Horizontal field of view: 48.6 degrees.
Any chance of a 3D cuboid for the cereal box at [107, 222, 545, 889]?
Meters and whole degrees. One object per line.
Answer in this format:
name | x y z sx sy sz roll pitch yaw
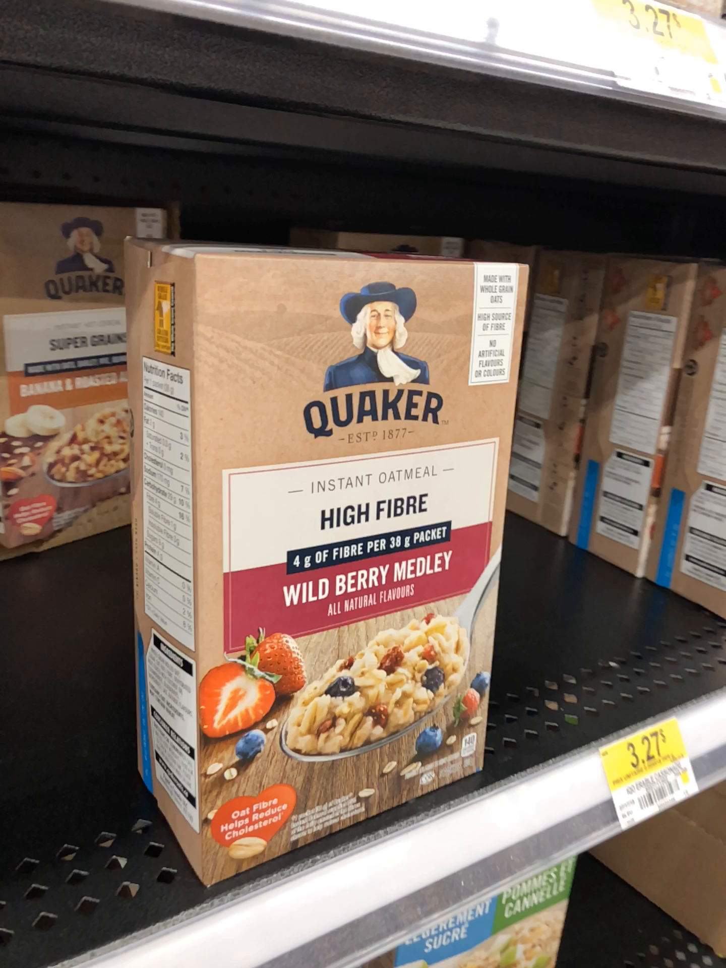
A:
cereal box | -0.012 0.015 0.286 0.130 0.199 0.060 -8 18 -33
